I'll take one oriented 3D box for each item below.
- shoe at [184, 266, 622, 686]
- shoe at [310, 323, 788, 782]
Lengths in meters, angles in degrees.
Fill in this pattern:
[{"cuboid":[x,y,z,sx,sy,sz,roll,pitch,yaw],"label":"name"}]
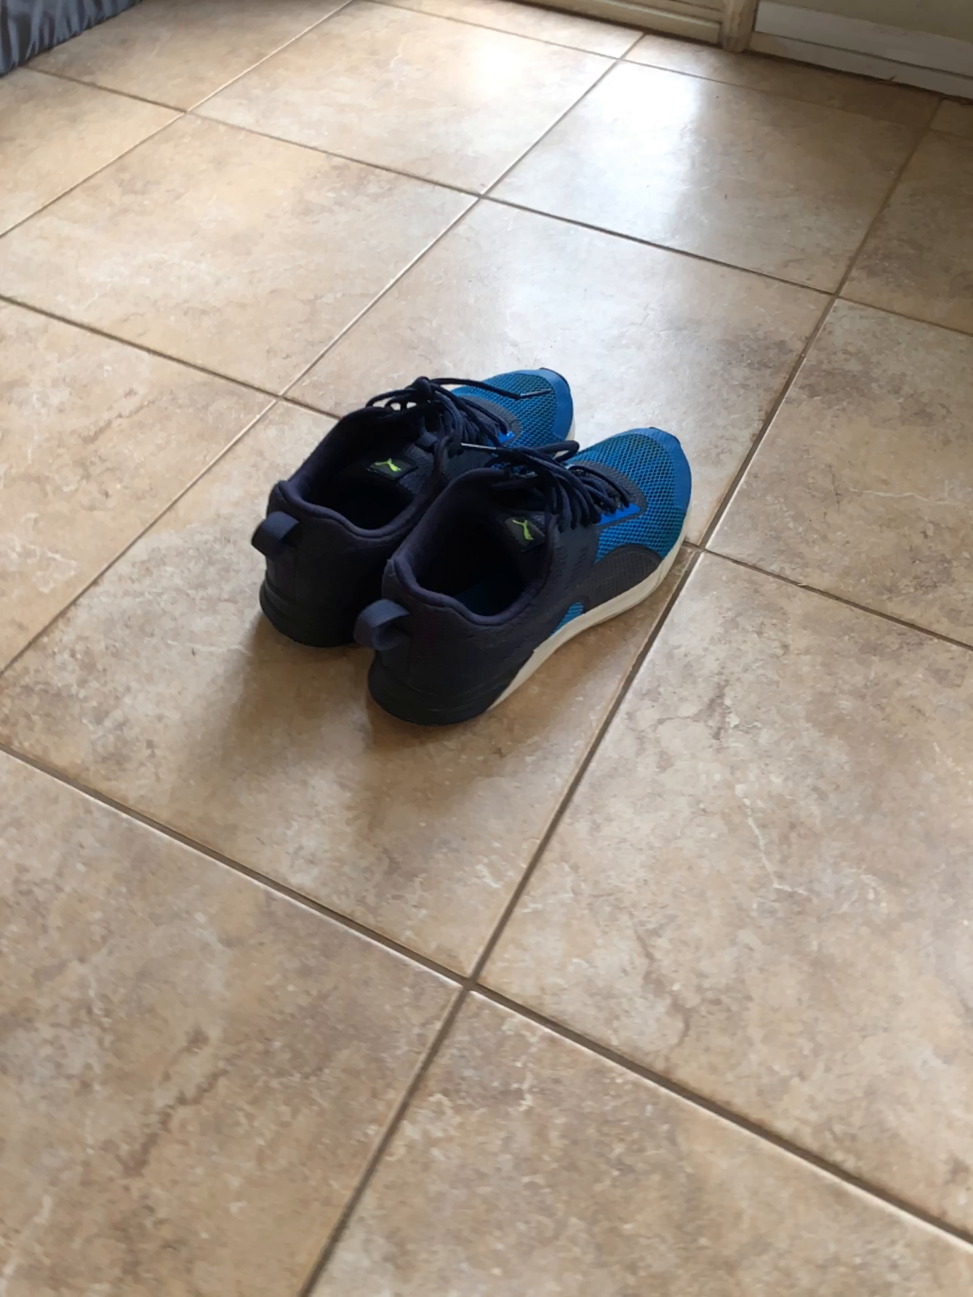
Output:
[{"cuboid":[-0.041,-0.121,0.688,0.110,0.100,0.281,31,57,22],"label":"shoe"},{"cuboid":[0.045,-0.069,0.644,0.110,0.100,0.291,36,58,24],"label":"shoe"}]
